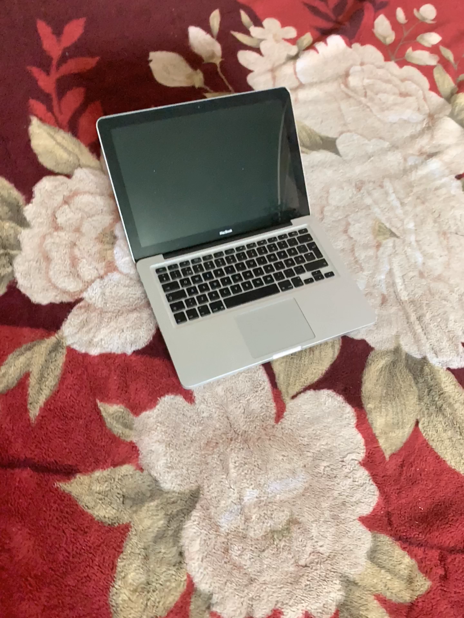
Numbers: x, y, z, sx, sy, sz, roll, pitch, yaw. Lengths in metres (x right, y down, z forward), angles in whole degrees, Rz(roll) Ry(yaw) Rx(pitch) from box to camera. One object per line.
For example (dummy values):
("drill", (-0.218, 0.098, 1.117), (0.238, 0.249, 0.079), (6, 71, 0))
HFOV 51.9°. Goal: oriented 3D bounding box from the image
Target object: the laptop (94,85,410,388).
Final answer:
("laptop", (0.013, -0.128, 0.716), (0.317, 0.116, 0.388), (-18, 68, -16))
